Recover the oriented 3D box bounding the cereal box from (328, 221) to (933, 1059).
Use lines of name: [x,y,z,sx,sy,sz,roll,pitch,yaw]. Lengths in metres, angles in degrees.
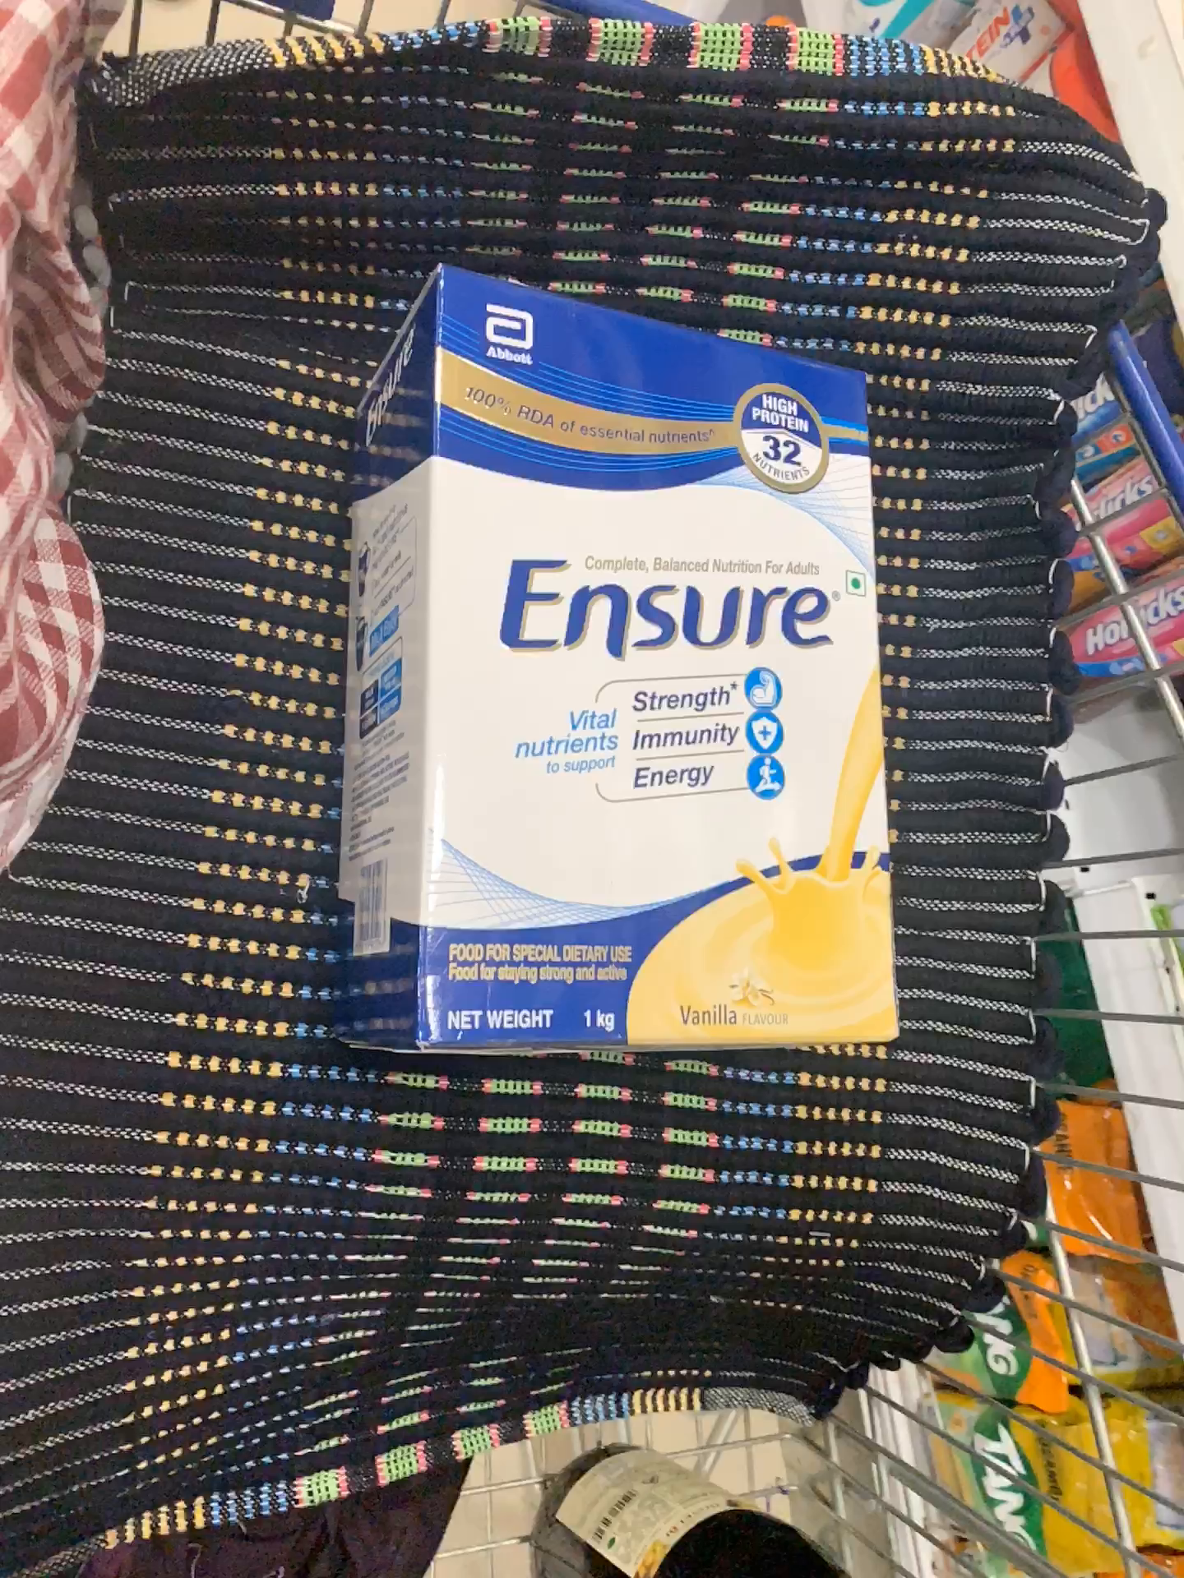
cereal box: [0.007,-0.031,0.374,0.150,0.090,0.220,5,76,-24]
